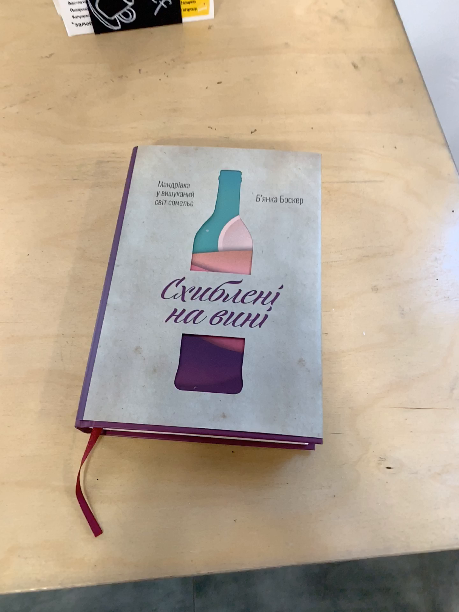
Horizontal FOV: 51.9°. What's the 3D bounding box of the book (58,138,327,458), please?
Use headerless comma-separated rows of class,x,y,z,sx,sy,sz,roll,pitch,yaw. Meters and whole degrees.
book,-0.013,-0.014,0.330,0.150,0.050,0.214,4,65,2
